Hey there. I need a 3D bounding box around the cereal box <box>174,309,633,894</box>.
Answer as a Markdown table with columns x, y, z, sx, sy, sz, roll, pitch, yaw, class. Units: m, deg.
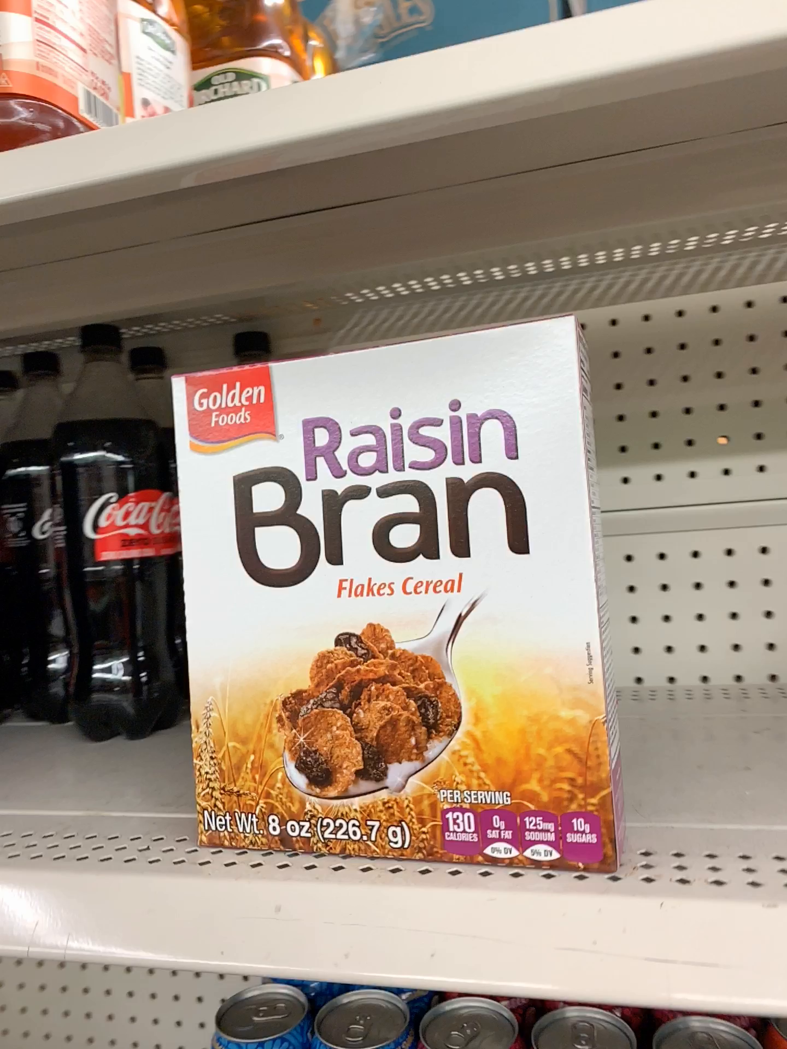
| x | y | z | sx | sy | sz | roll | pitch | yaw | class |
| --- | --- | --- | --- | --- | --- | --- | --- | --- | --- |
| 0.001 | 0.036 | 0.375 | 0.190 | 0.230 | 0.050 | -5 | -2 | 20 | cereal box |
